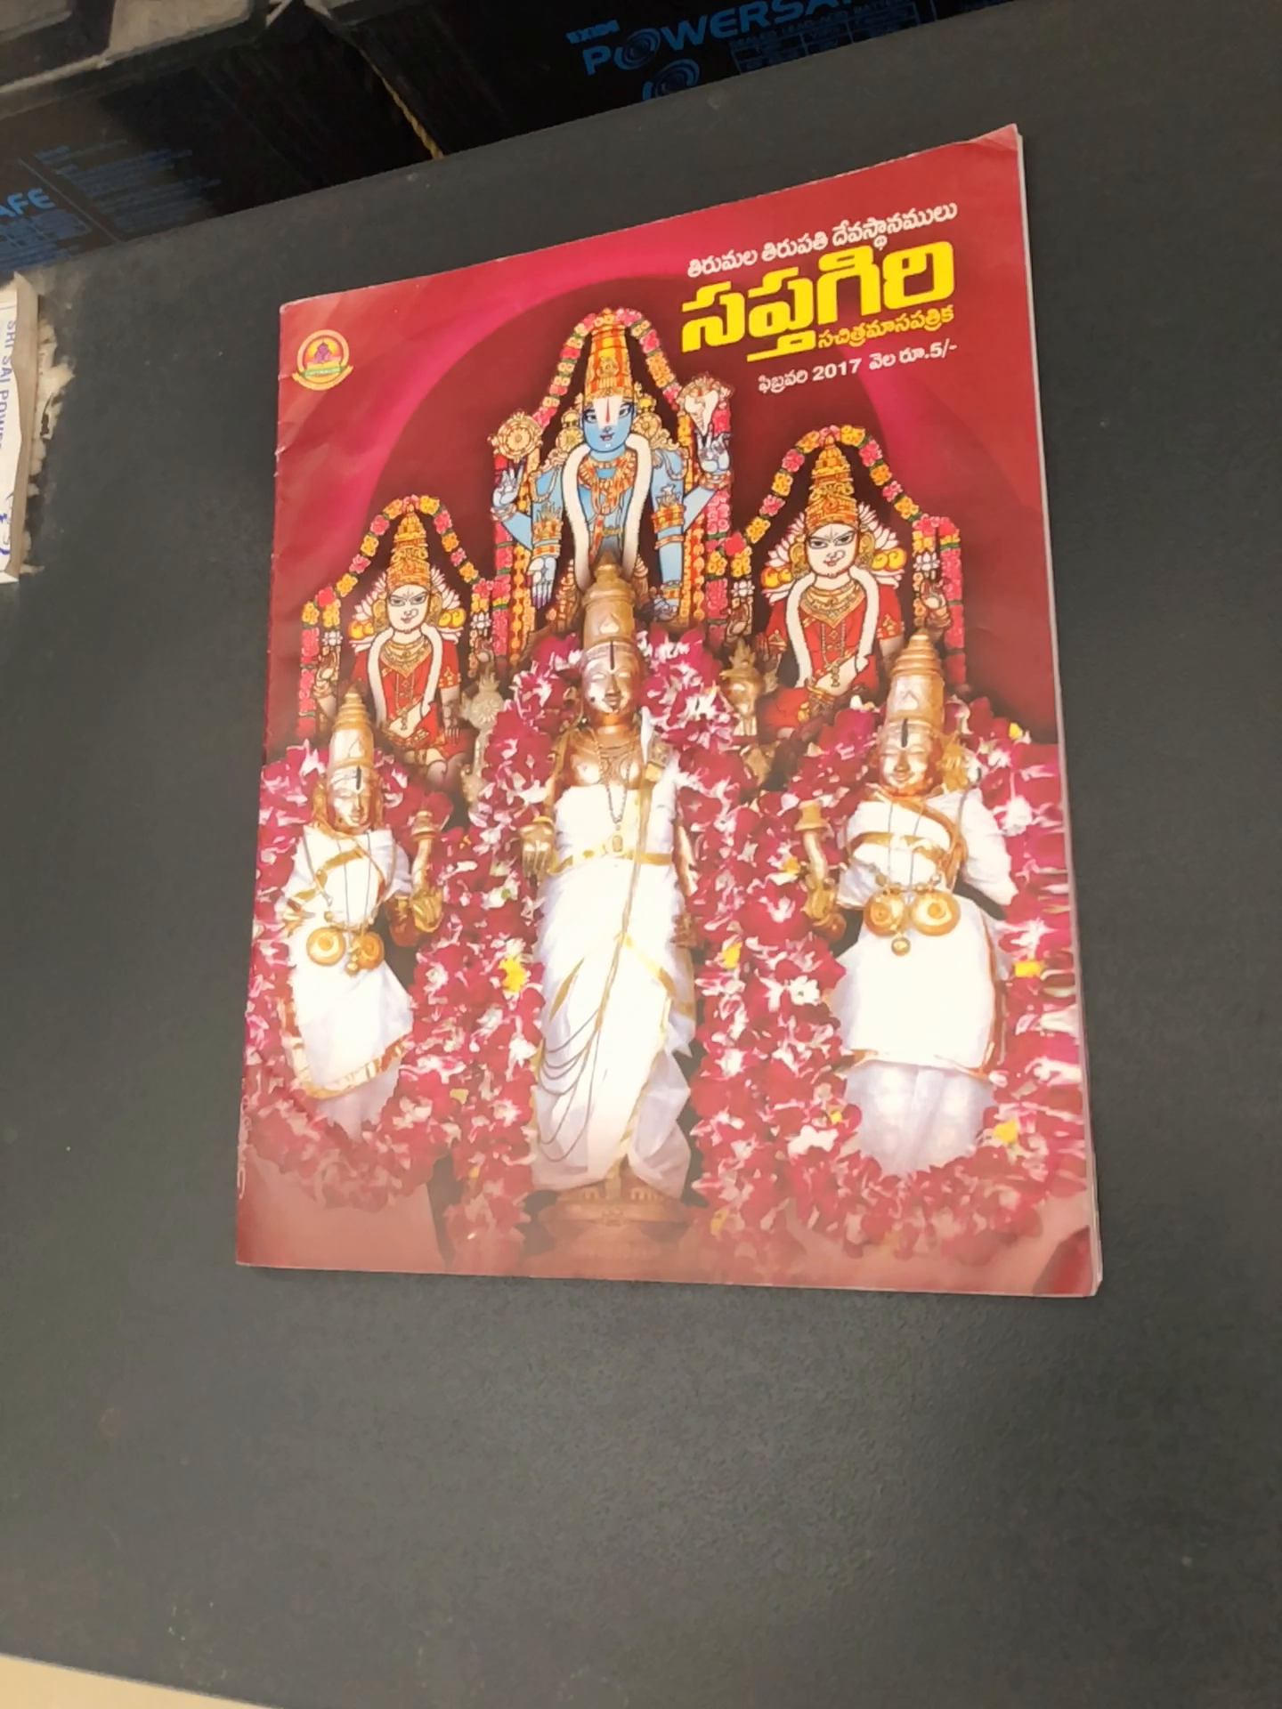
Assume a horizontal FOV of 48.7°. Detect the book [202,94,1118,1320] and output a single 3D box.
[{"bbox_3d":[-0.003,-0.031,0.335,0.200,0.030,0.260,-5,76,21],"label":"book"}]
